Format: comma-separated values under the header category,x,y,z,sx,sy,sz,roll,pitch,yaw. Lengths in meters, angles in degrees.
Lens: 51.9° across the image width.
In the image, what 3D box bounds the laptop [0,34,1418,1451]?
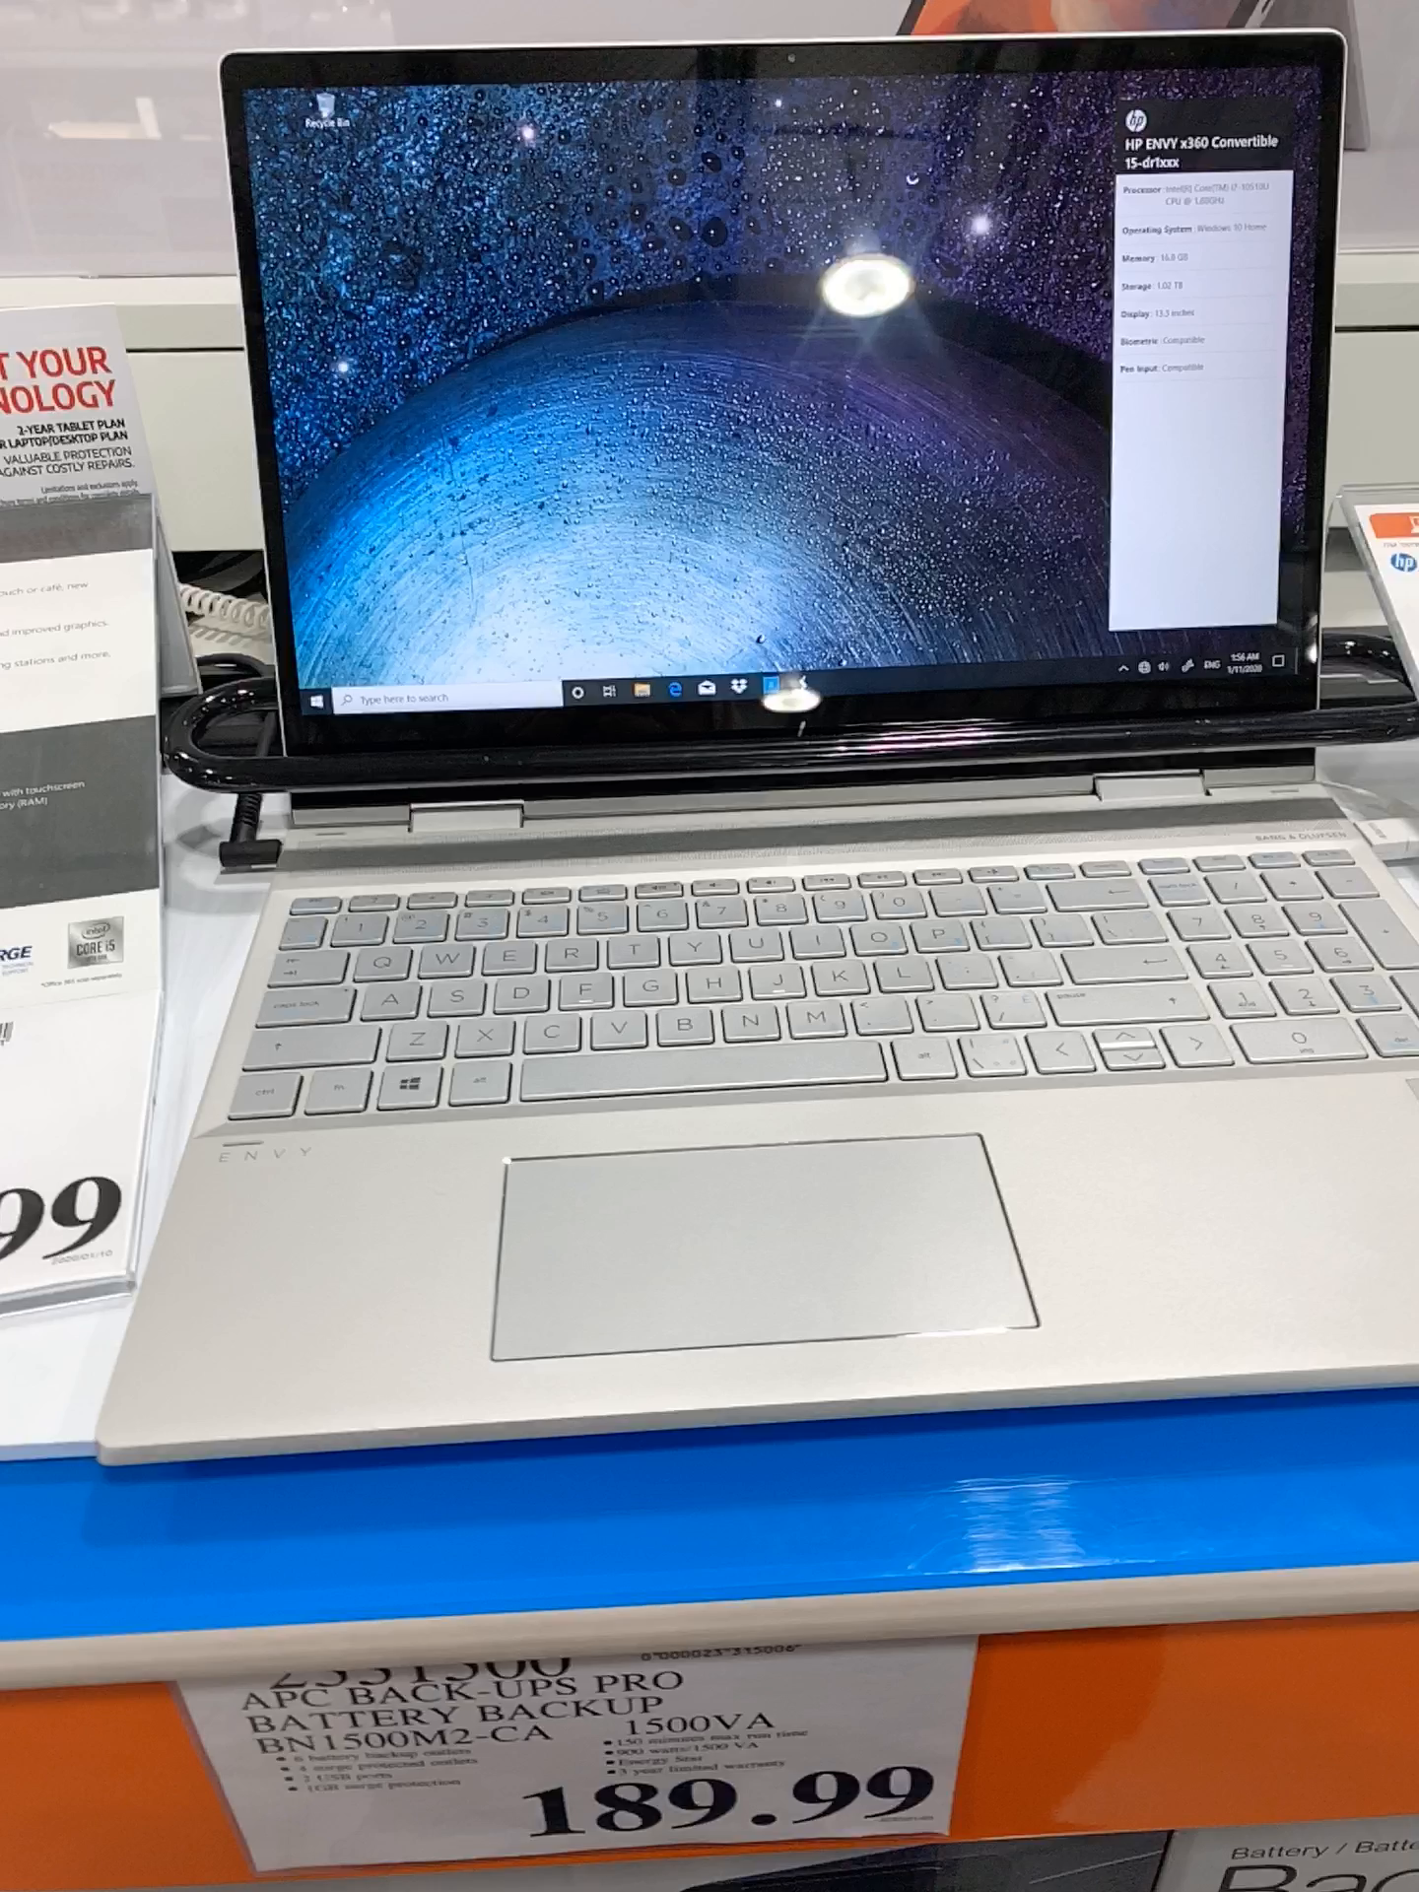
category,x,y,z,sx,sy,sz,roll,pitch,yaw
laptop,0.036,-0.093,0.373,0.346,0.209,0.341,-3,36,-3
